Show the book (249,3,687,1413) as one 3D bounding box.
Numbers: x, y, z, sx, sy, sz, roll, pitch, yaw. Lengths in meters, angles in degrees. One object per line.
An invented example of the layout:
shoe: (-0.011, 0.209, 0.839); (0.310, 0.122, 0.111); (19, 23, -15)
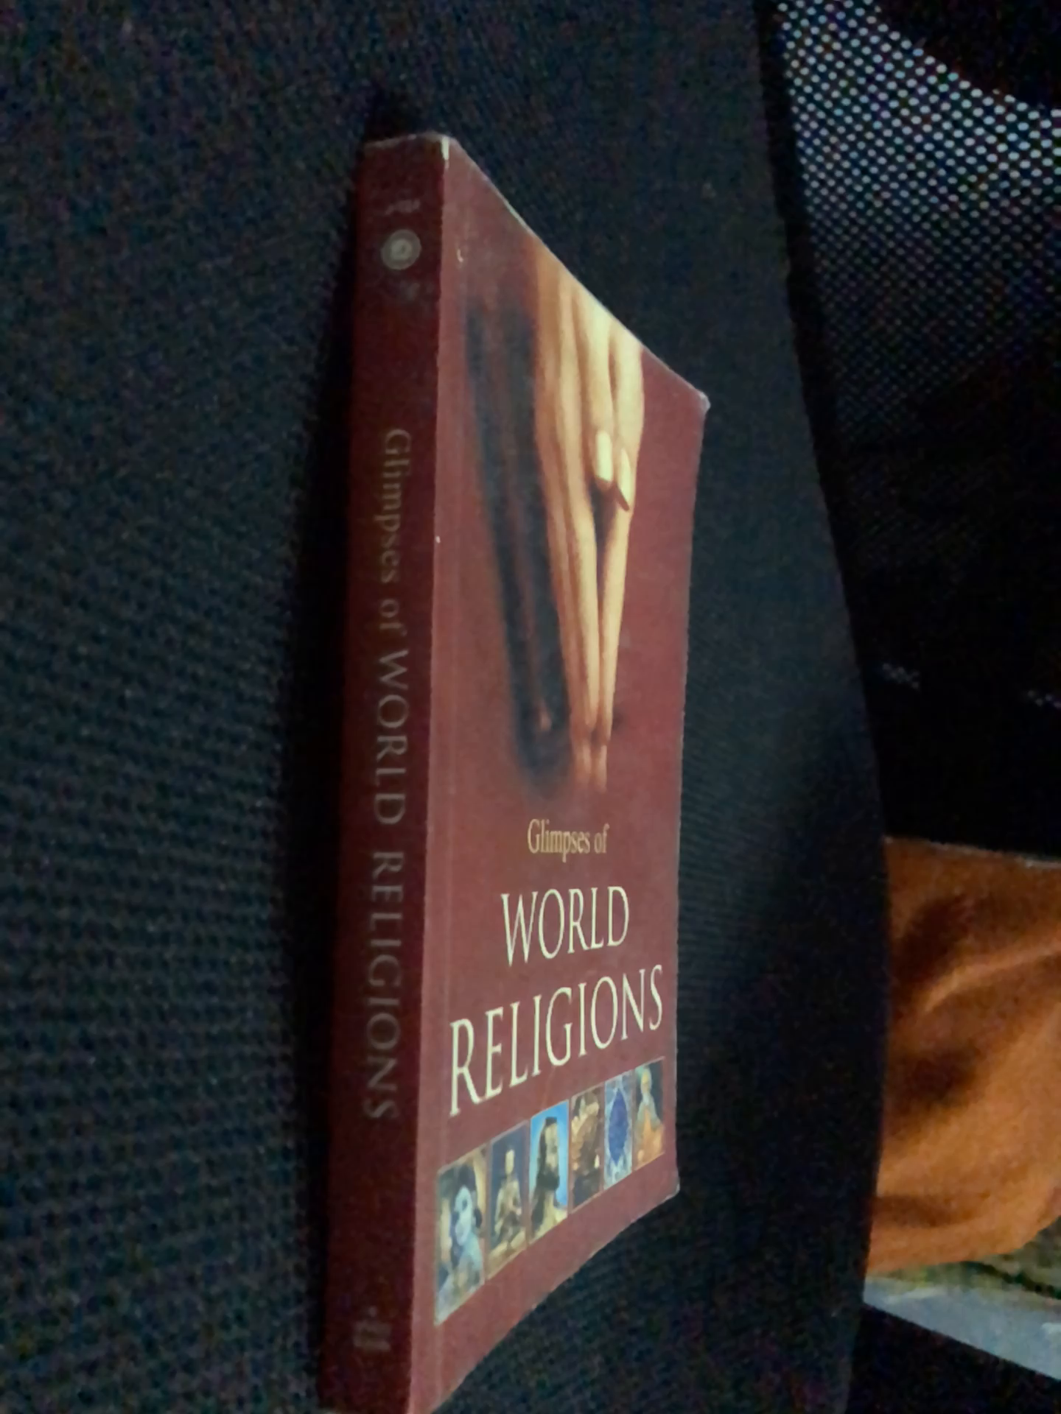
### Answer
book: (0.001, 0.004, 0.231); (0.141, 0.020, 0.200); (18, 73, -66)
